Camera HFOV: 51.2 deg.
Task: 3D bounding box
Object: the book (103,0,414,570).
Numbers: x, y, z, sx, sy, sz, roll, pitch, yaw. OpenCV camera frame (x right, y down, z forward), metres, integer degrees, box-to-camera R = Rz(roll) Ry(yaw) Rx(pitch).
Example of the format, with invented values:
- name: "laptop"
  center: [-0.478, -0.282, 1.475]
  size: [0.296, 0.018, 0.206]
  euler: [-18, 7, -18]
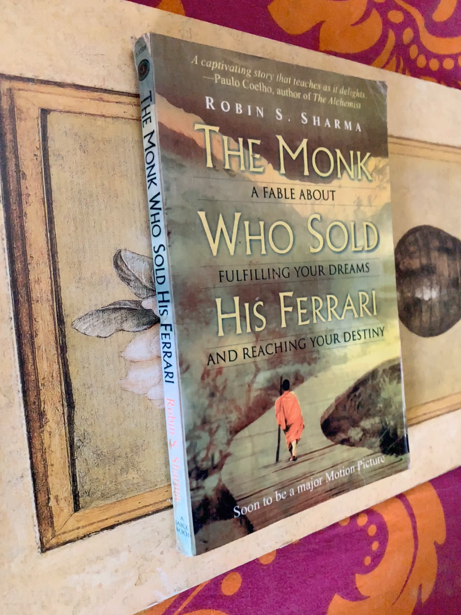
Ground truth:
- name: "book"
  center: [0.022, -0.013, 0.214]
  size: [0.131, 0.030, 0.200]
  euler: [-7, 93, -34]
